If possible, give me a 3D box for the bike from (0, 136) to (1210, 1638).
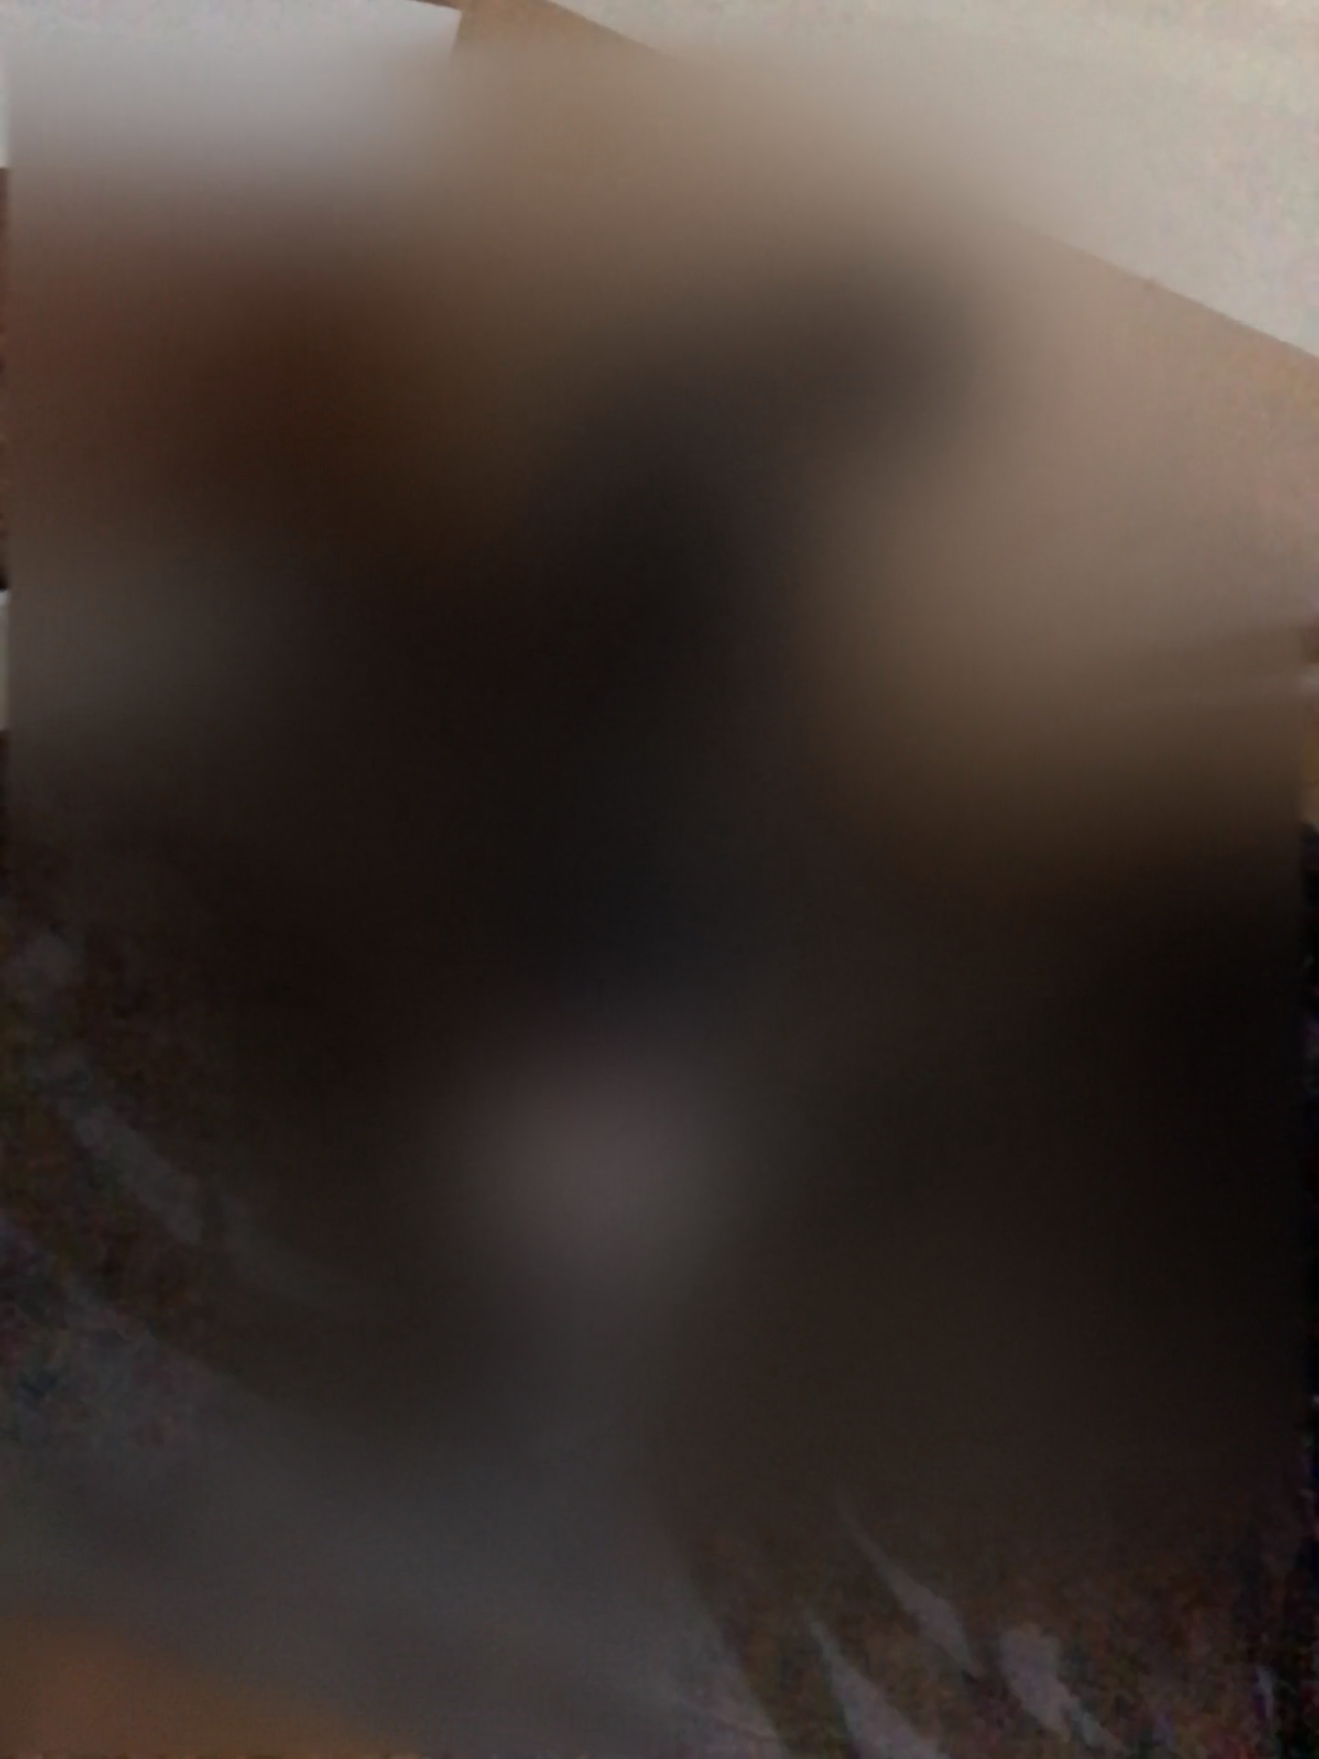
[{"bbox_3d":[-0.123,-0.174,1.989,0.717,1.179,1.712,20,32,-8],"label":"bike"}]
